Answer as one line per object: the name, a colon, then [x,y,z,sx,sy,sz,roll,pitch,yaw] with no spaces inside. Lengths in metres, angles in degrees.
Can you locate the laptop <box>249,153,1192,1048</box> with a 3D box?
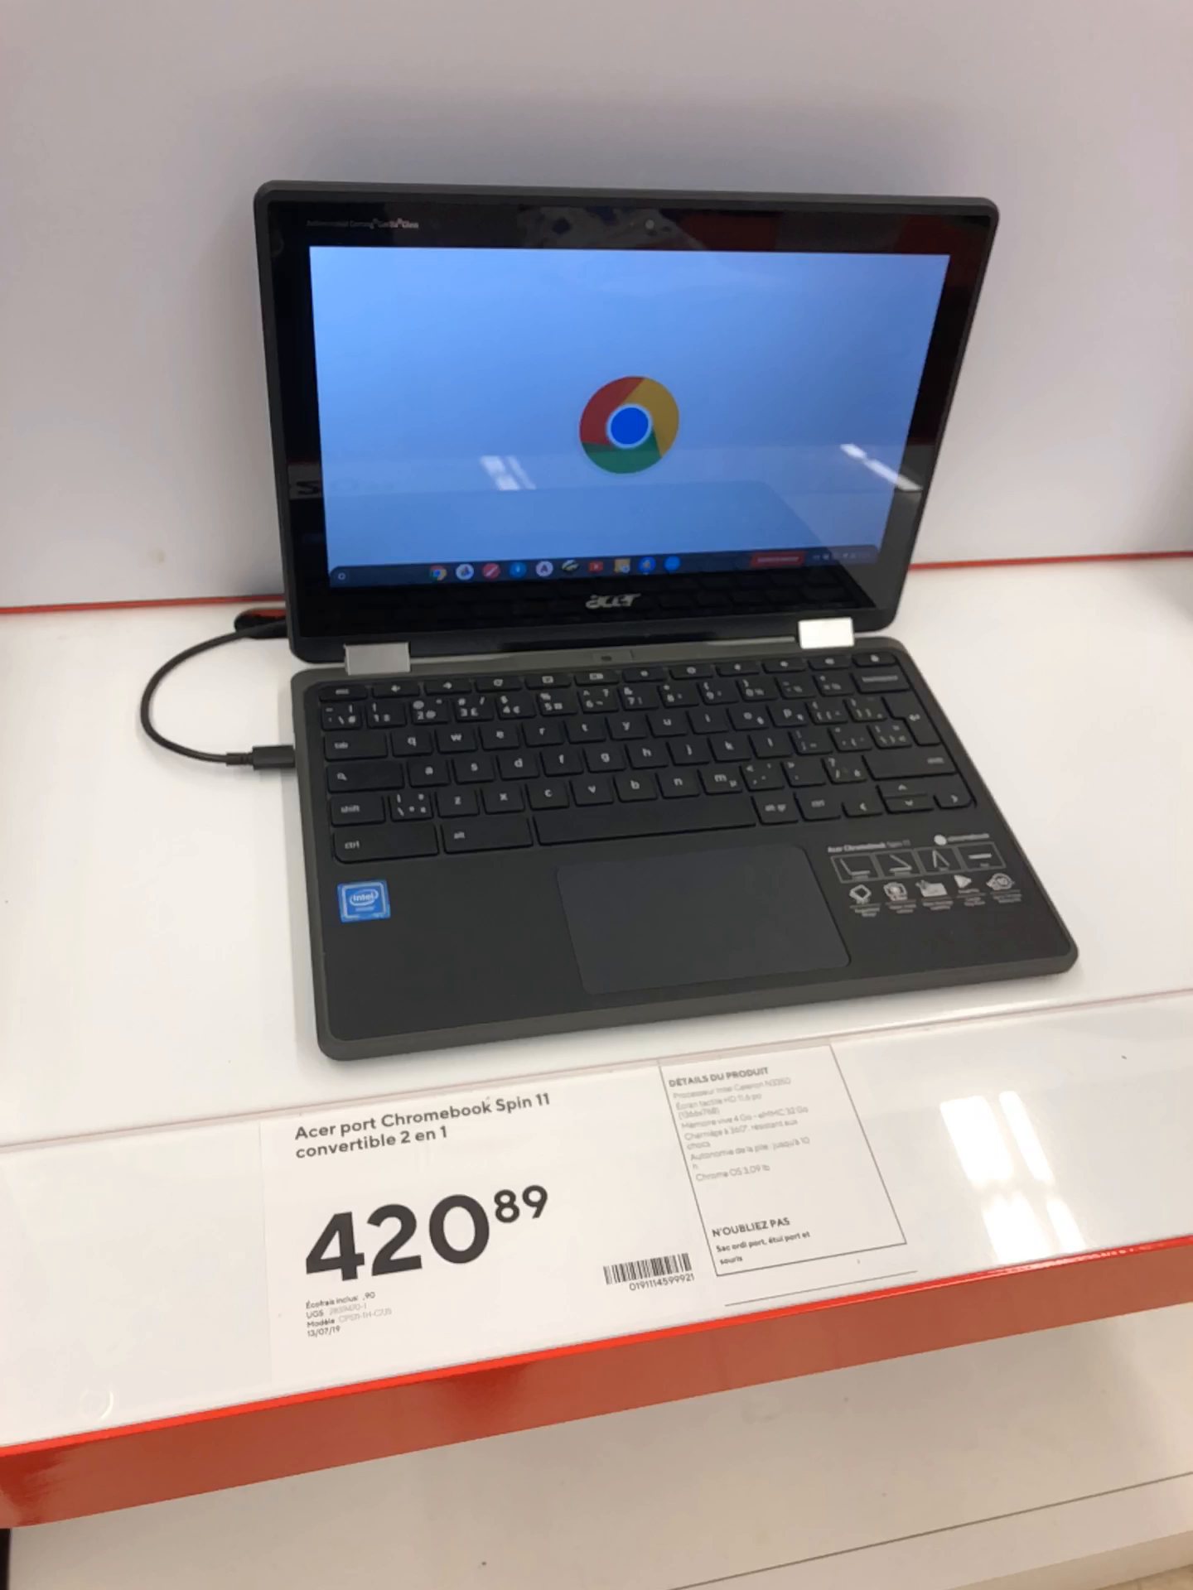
laptop: [0.030,-0.085,0.509,0.289,0.198,0.253,-5,49,-13]
